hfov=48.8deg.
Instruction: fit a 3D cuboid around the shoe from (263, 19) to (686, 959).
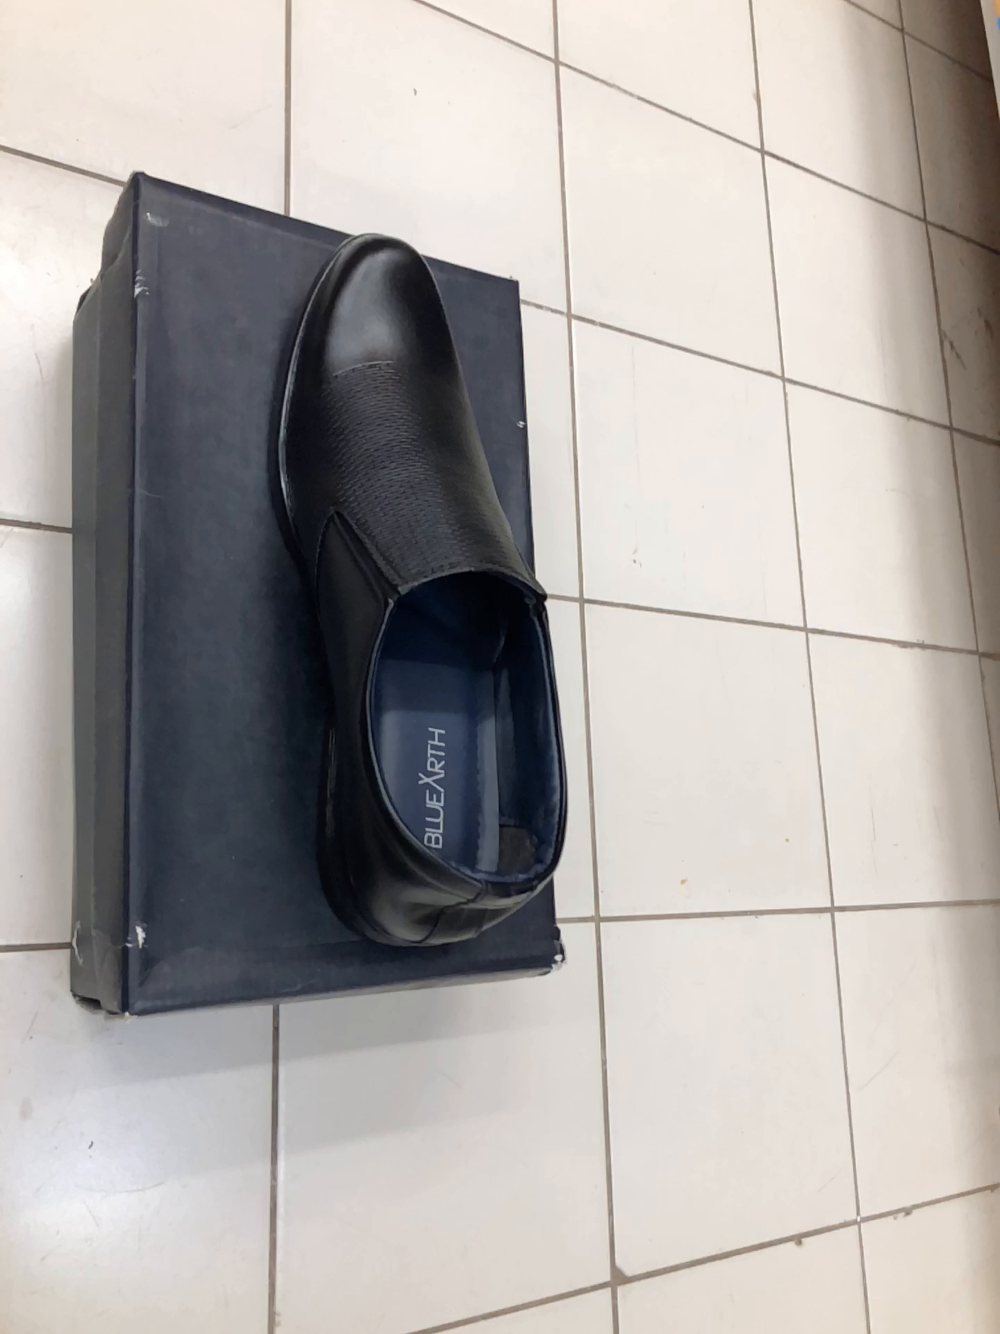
[{"bbox_3d":[-0.022,-0.061,0.460,0.100,0.129,0.340,2,78,-32],"label":"shoe"}]
